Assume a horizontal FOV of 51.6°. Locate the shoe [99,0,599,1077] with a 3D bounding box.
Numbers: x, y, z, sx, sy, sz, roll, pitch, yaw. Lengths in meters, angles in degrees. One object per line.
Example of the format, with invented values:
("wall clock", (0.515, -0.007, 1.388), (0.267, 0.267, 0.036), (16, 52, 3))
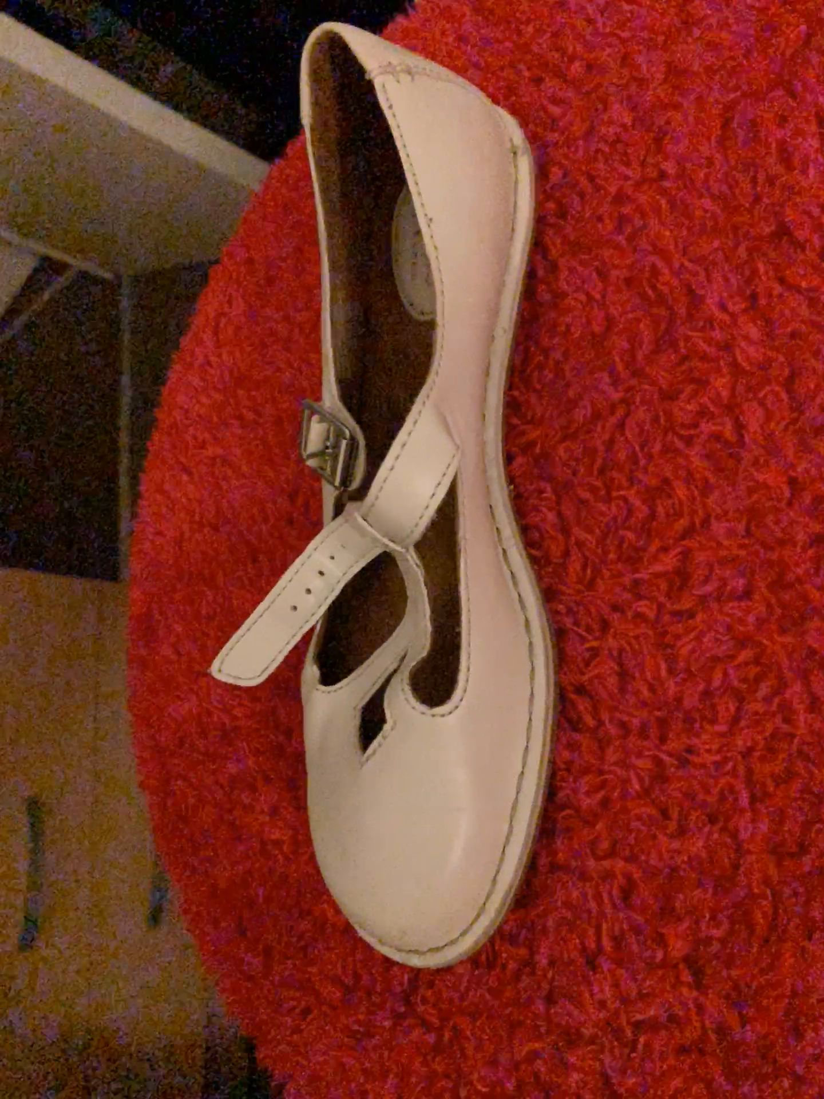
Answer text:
("shoe", (-0.015, -0.012, 0.257), (0.101, 0.089, 0.260), (-11, 72, 43))
